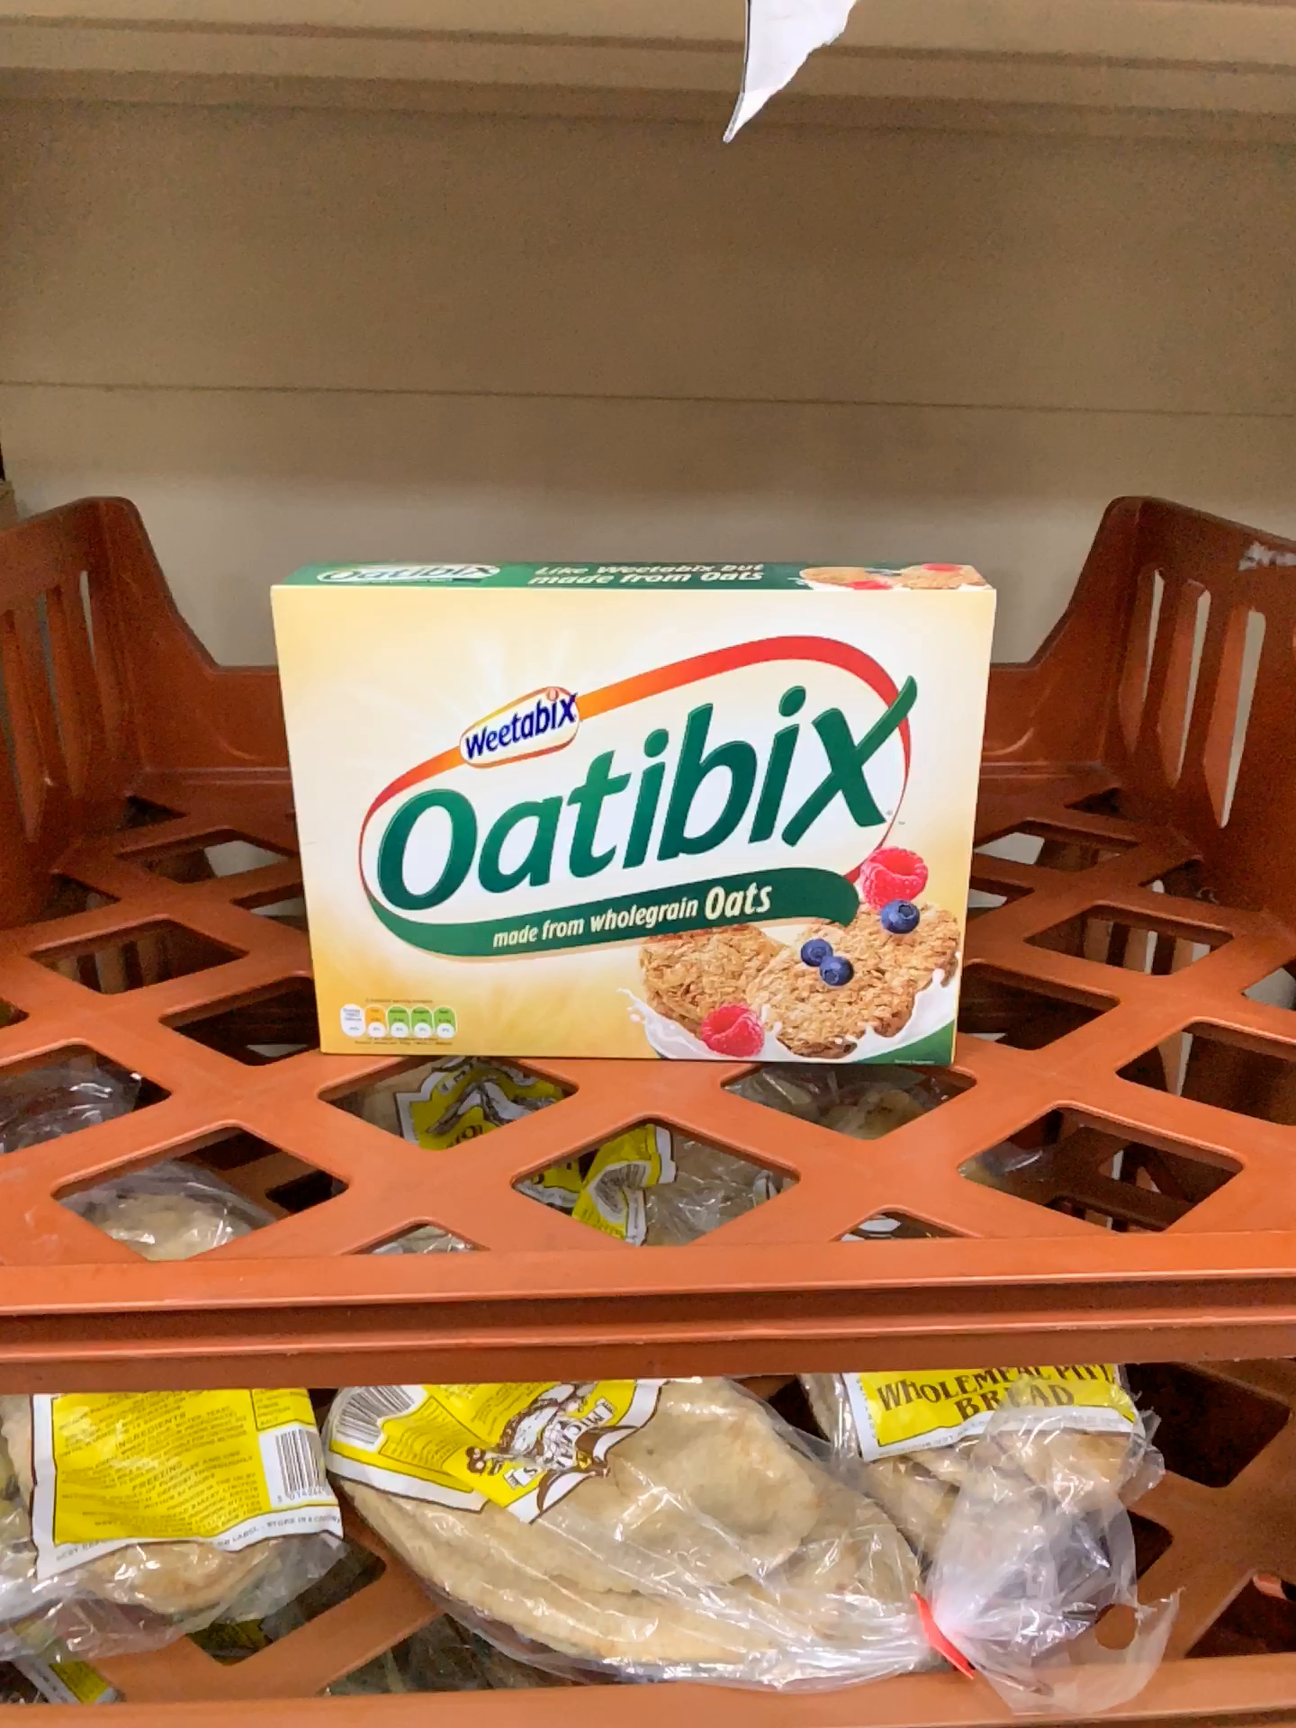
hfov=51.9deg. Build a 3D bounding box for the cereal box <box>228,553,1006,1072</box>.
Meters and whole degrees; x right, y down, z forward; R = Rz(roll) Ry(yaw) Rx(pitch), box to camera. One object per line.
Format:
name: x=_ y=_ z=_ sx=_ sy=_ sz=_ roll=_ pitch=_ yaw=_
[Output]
cereal box: x=-0.011 y=-0.021 z=0.509 sx=0.260 sy=0.179 sz=0.071 roll=1 pitch=21 yaw=2
